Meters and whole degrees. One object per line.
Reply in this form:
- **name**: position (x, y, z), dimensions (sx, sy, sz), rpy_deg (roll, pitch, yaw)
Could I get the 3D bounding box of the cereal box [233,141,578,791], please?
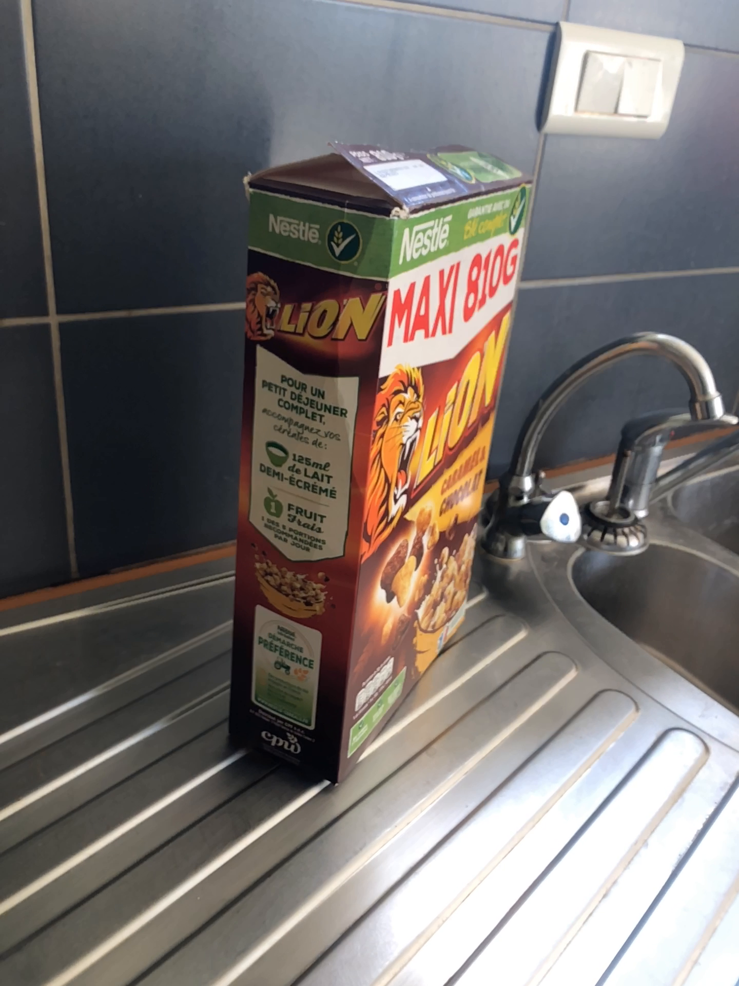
- **cereal box**: position (0.019, -0.025, 0.476), dimensions (0.080, 0.318, 0.201), rpy_deg (19, 30, 23)
